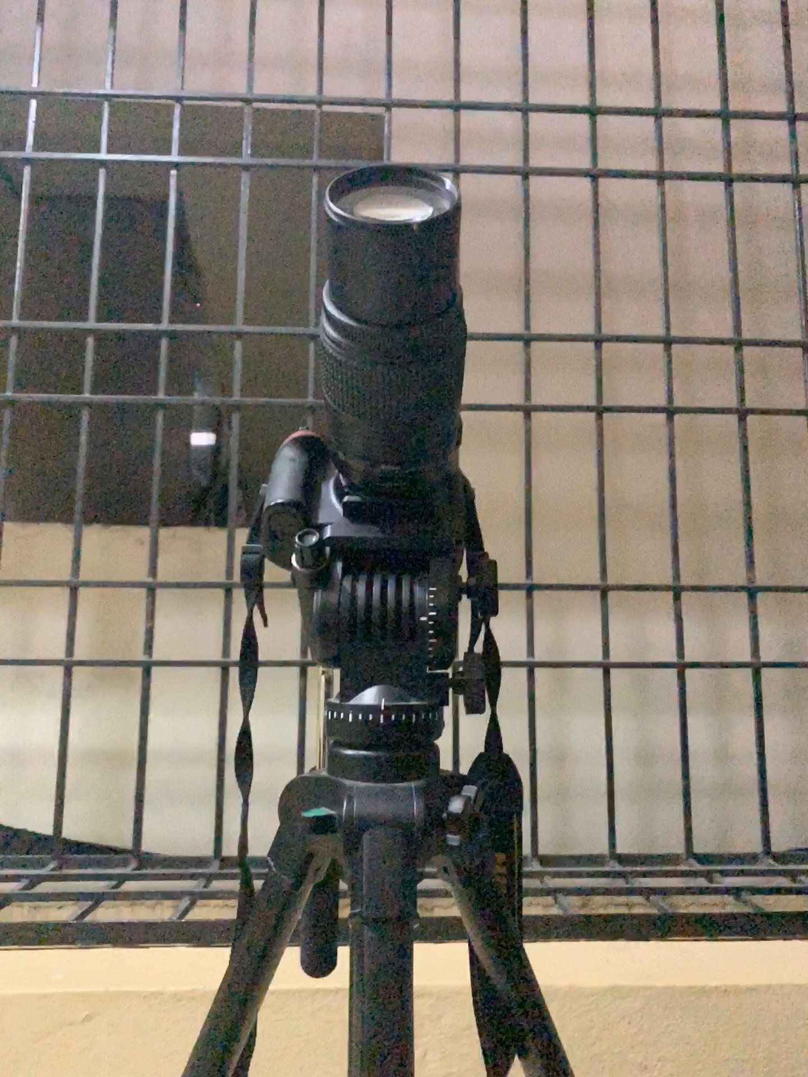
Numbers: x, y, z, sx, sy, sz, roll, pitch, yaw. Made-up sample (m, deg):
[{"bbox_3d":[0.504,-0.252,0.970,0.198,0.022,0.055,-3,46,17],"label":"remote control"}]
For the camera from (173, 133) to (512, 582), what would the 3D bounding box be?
[{"bbox_3d":[-0.024,-0.087,0.440,0.136,0.101,0.209,1,-48,1],"label":"camera"}]
